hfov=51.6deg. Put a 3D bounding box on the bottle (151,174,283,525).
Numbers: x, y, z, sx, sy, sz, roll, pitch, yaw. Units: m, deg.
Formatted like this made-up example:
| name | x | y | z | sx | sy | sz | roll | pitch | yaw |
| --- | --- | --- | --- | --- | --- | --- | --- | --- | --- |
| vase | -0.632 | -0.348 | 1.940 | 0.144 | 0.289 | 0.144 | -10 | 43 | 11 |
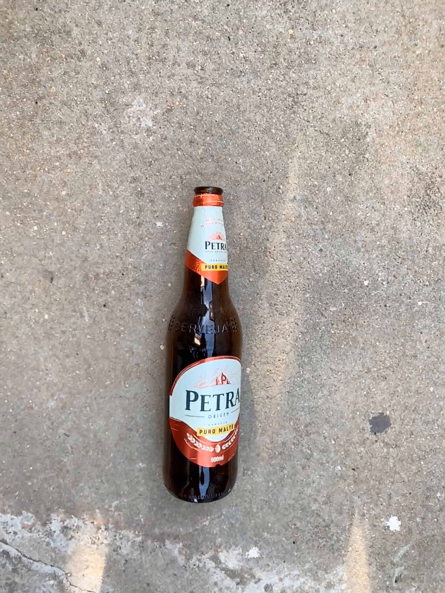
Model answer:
| name | x | y | z | sx | sy | sz | roll | pitch | yaw |
| --- | --- | --- | --- | --- | --- | --- | --- | --- | --- |
| bottle | -0.007 | 0.041 | 0.402 | 0.080 | 0.070 | 0.270 | 1 | 93 | -31 |
